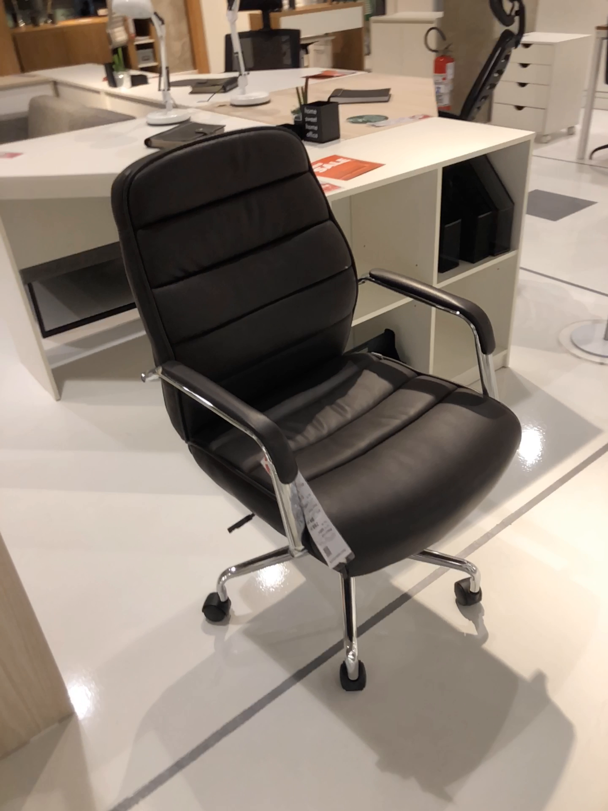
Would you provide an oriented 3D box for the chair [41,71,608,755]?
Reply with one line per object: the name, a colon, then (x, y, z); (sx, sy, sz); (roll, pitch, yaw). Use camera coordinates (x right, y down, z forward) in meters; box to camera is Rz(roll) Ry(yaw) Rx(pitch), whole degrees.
chair: (0.065, -0.035, 1.265); (0.652, 0.973, 0.572); (-29, 40, -32)
